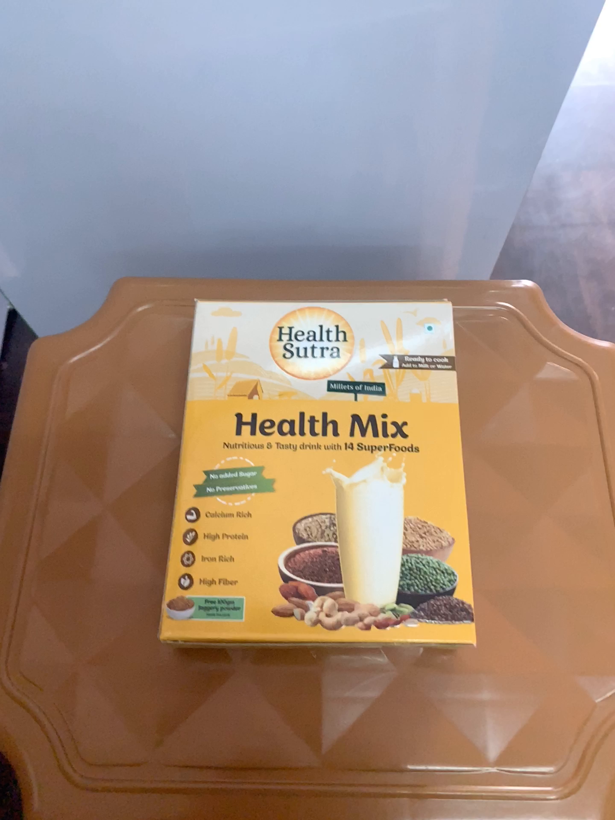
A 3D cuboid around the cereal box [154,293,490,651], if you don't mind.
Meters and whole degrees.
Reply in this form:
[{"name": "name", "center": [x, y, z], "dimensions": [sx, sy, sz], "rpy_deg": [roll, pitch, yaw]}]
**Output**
[{"name": "cereal box", "center": [0.006, 0.025, 0.296], "dimensions": [0.130, 0.040, 0.160], "rpy_deg": [1, 66, 0]}]
